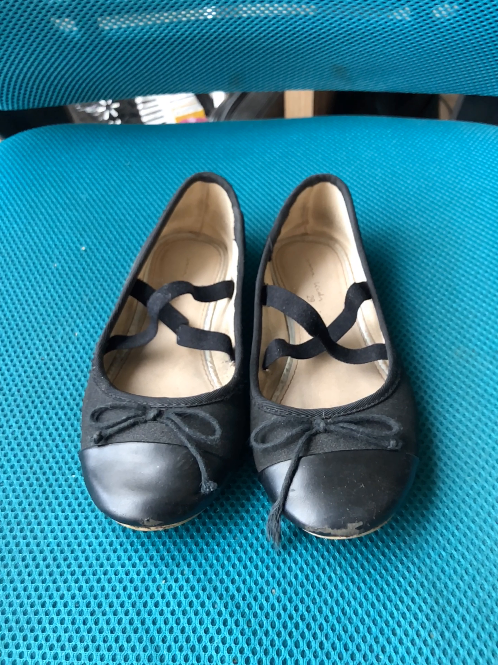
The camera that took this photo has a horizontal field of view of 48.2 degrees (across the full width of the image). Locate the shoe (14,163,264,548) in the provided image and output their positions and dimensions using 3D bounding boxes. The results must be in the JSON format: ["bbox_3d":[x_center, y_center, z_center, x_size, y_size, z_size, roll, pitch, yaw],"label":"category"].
[{"bbox_3d":[-0.036,-0.004,0.271,0.080,0.050,0.194,0,51,4],"label":"shoe"}]

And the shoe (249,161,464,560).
[{"bbox_3d":[0.036,-0.001,0.258,0.068,0.050,0.191,-1,50,2],"label":"shoe"}]
